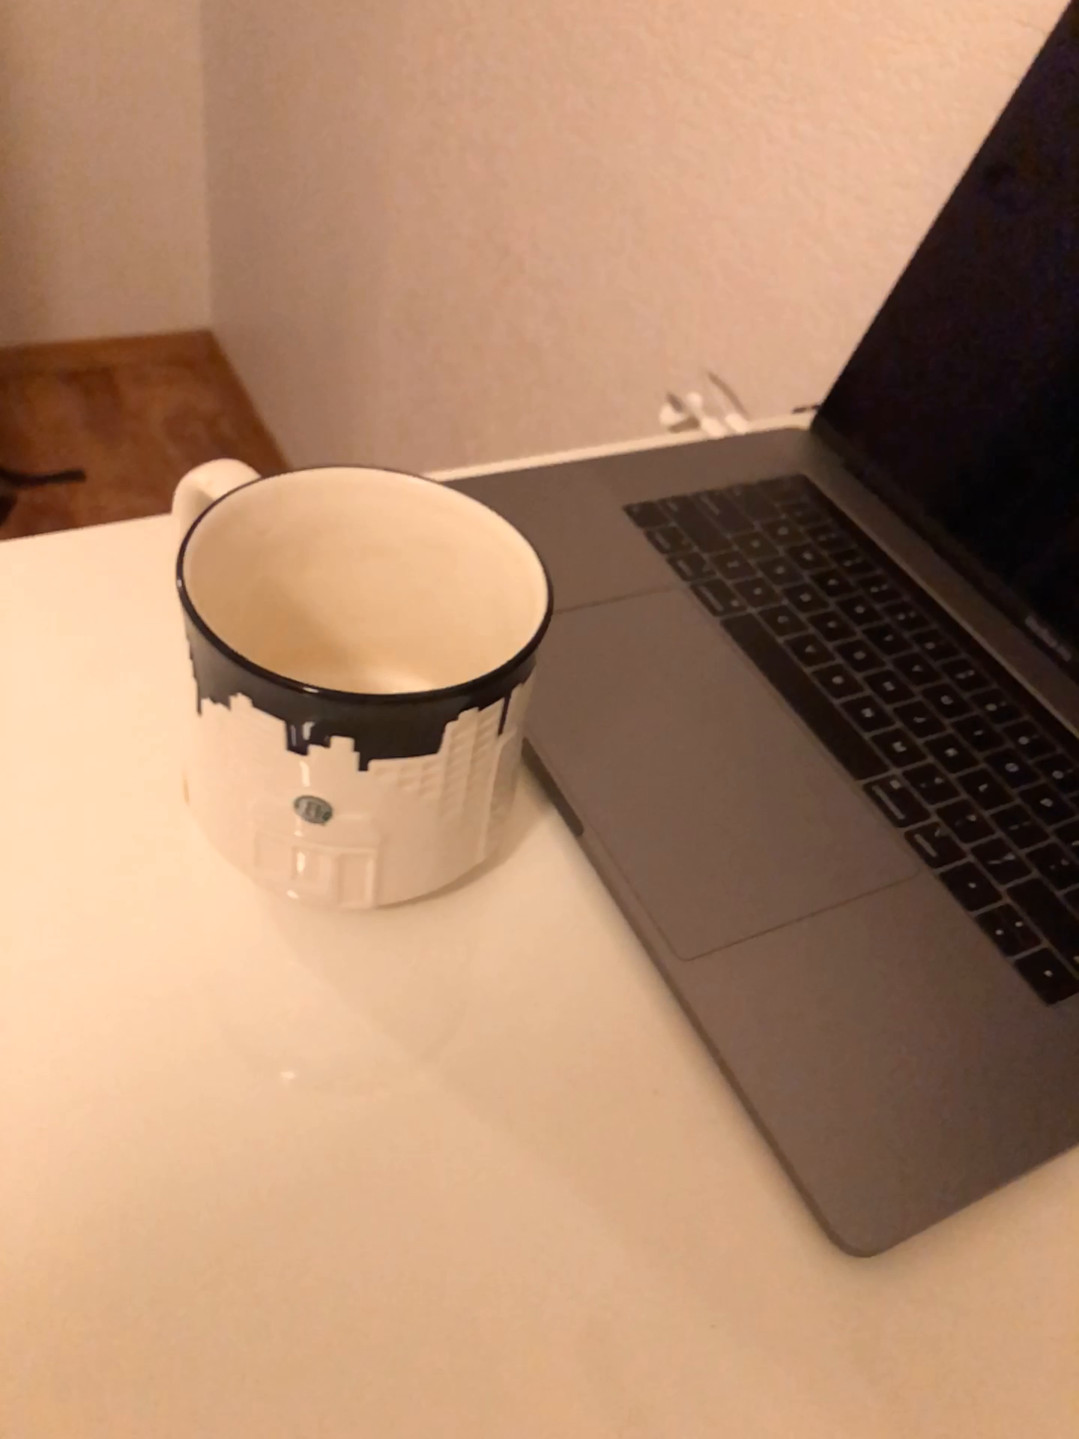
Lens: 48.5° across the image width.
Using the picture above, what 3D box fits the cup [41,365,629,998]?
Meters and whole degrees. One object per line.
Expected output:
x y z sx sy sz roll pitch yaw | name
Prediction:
-0.069 -0.019 0.386 0.100 0.109 0.150 -28 56 -34 | cup
